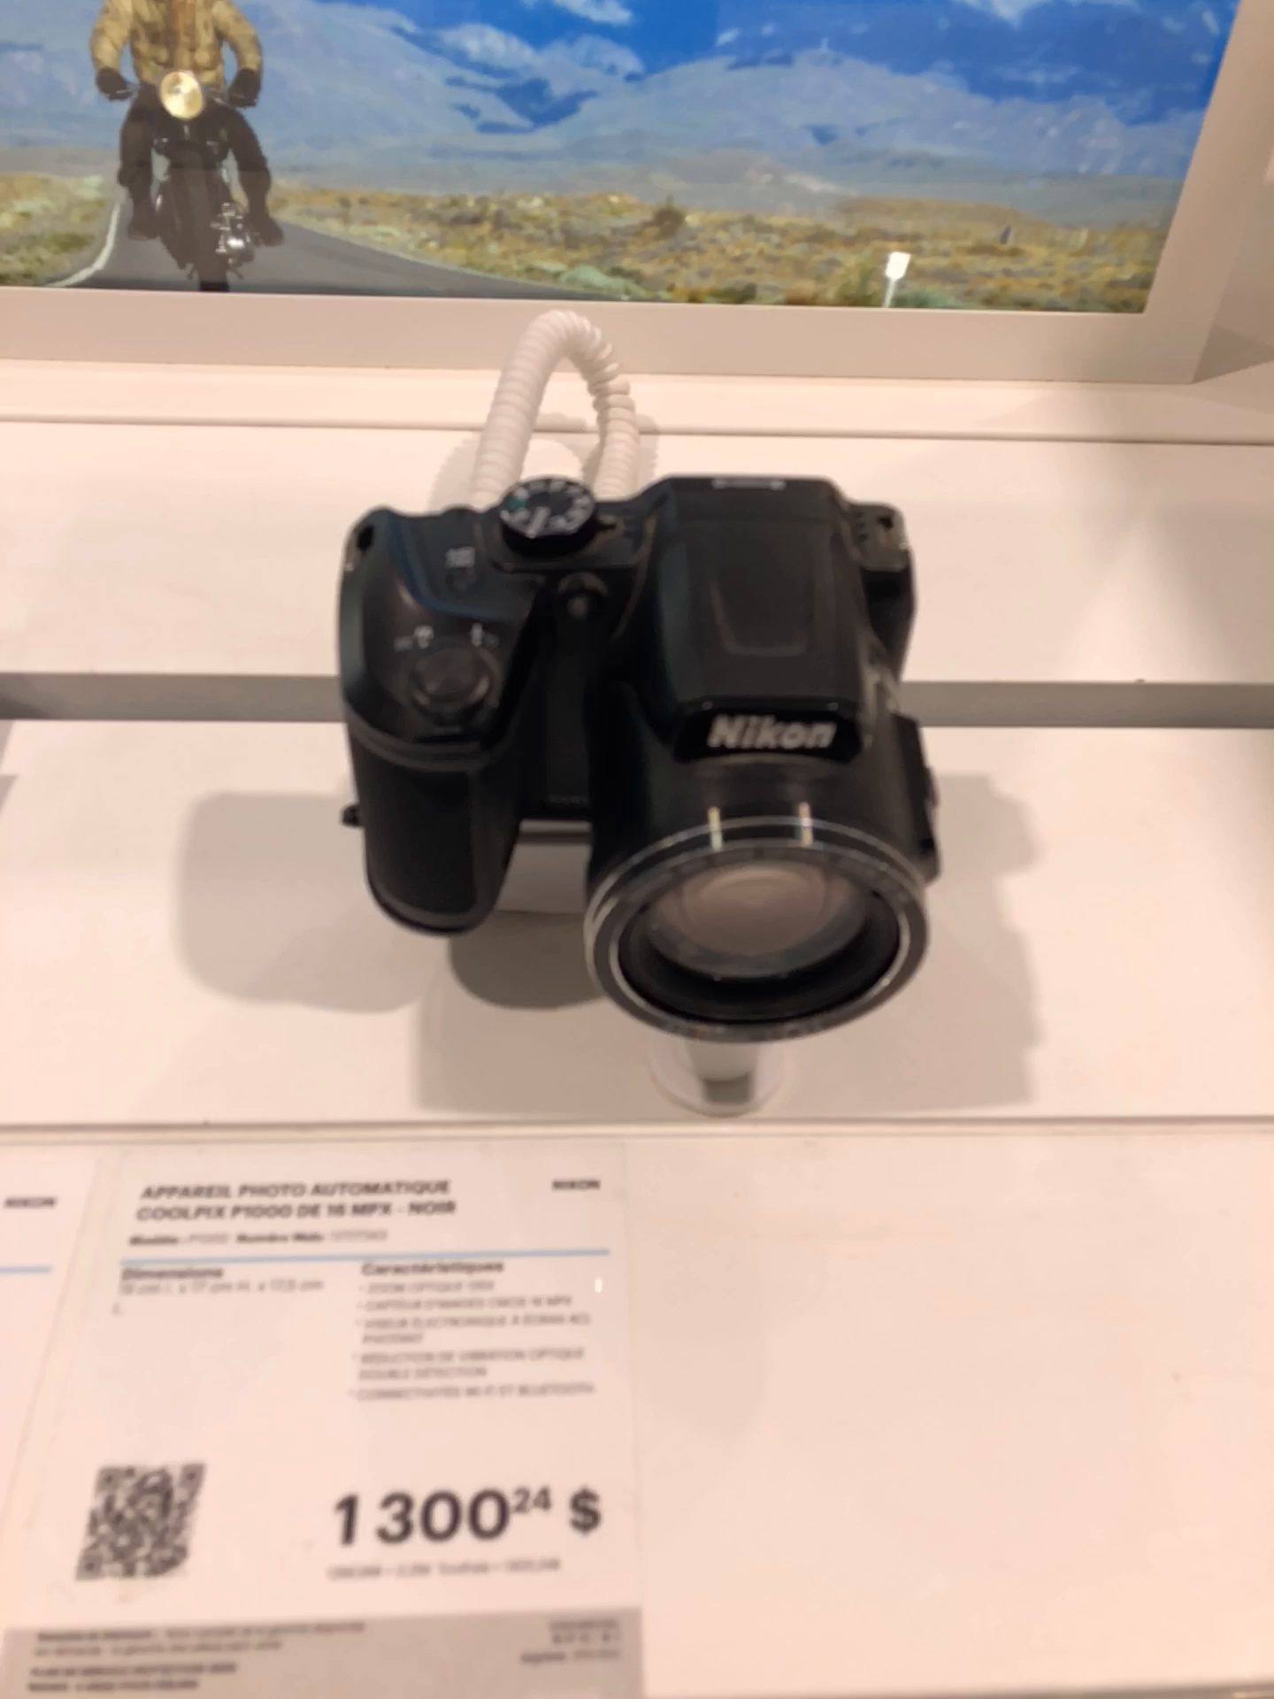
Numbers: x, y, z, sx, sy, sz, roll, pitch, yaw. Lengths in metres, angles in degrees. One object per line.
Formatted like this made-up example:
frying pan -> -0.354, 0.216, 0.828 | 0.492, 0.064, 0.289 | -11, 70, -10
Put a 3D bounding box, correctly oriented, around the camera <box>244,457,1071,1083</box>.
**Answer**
camera -> 0.000, -0.017, 0.252 | 0.117, 0.067, 0.092 | -1, 46, -4
